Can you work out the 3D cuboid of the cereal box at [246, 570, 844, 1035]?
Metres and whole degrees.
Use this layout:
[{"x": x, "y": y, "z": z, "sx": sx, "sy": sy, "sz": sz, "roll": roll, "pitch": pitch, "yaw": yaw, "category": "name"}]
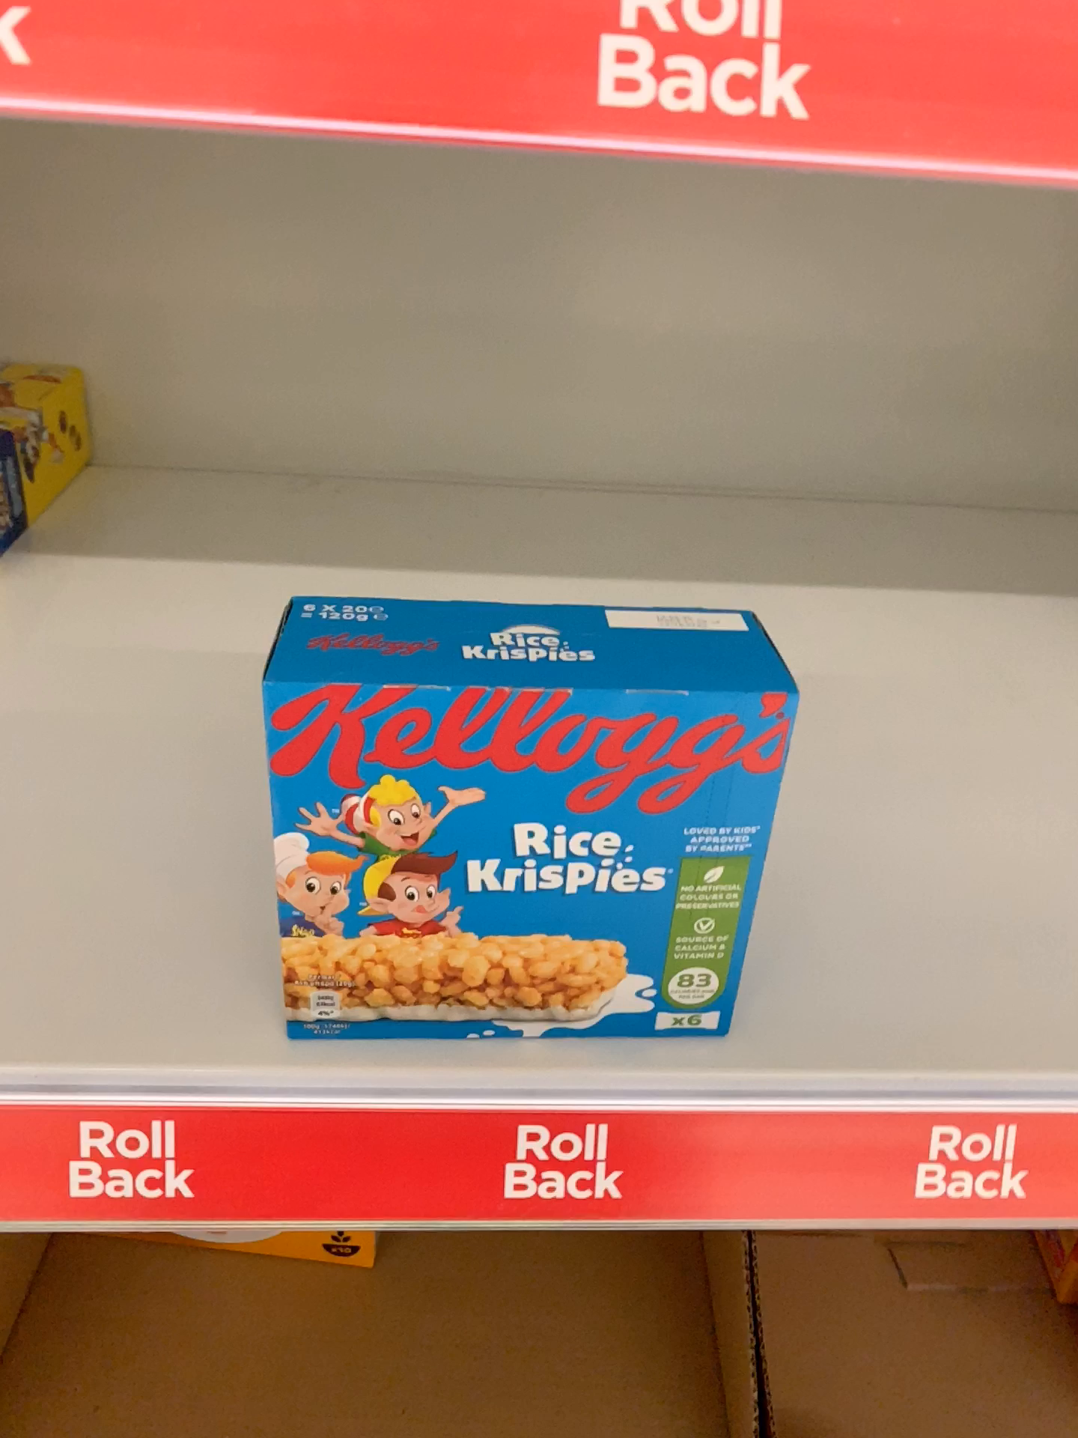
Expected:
[{"x": -0.003, "y": 0.028, "z": 0.331, "sx": 0.150, "sy": 0.129, "sz": 0.050, "roll": 1, "pitch": 31, "yaw": -6, "category": "cereal box"}]
